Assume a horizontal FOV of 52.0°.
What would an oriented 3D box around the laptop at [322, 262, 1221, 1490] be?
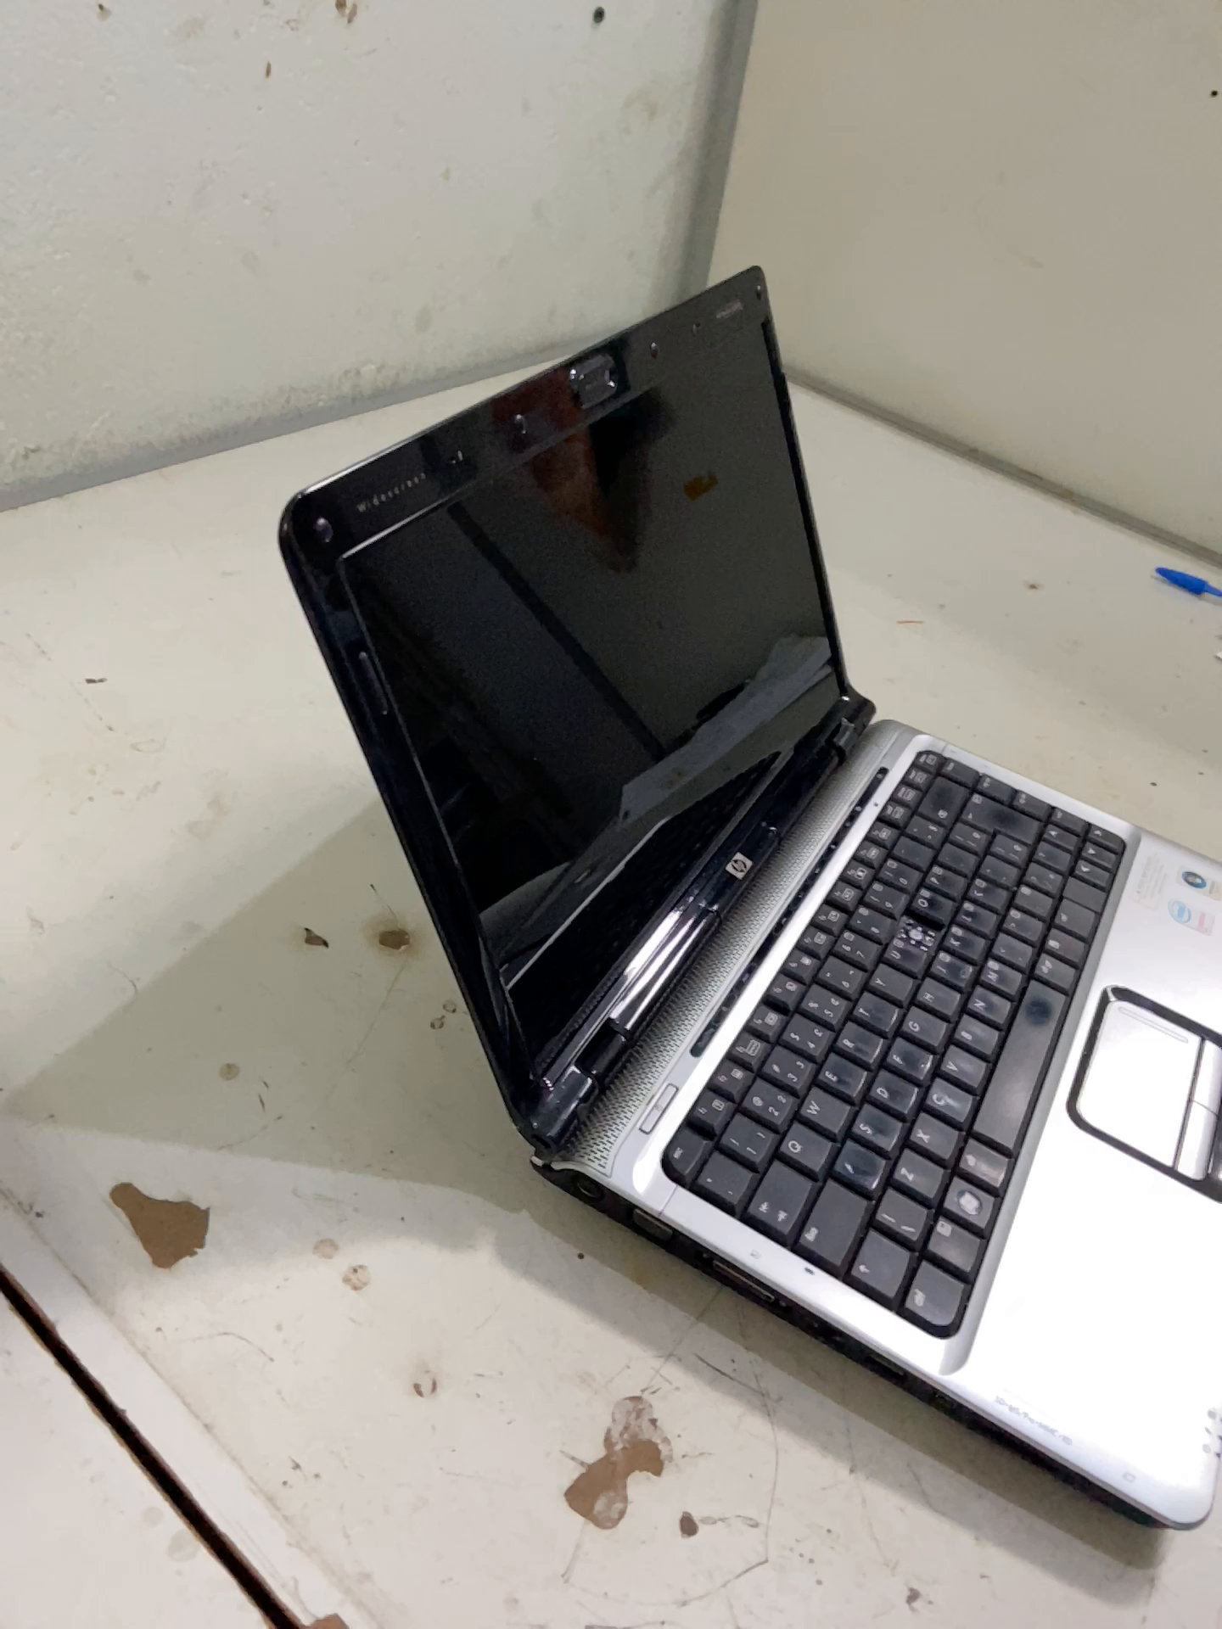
[{"bbox_3d":[0.130,-0.026,0.471,0.334,0.193,0.323,26,42,17],"label":"laptop"}]
